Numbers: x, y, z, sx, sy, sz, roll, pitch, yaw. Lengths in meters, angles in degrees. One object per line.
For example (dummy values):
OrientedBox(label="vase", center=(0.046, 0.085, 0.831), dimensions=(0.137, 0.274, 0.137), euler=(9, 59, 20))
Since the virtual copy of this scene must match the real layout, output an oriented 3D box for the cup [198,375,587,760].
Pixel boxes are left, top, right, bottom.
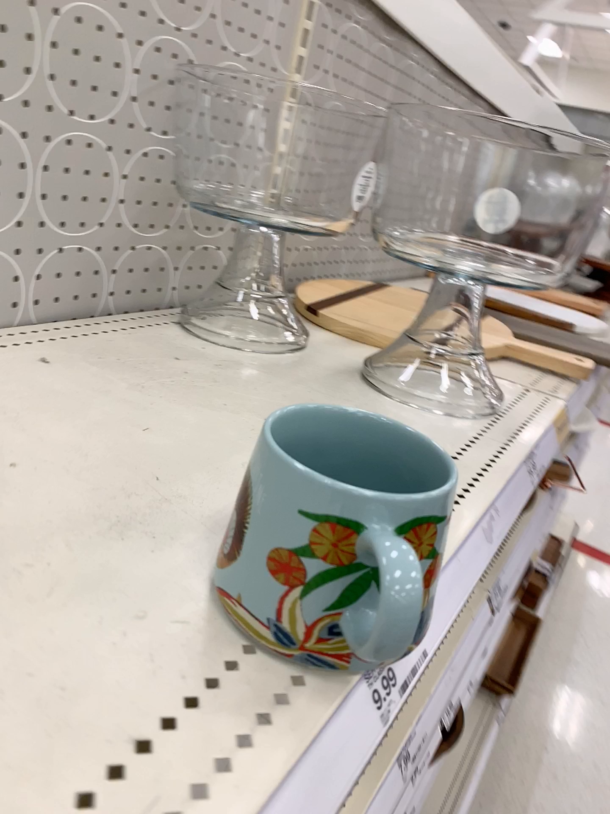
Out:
OrientedBox(label="cup", center=(0.022, 0.062, 0.286), dimensions=(0.120, 0.090, 0.141), euler=(10, 22, -10))
